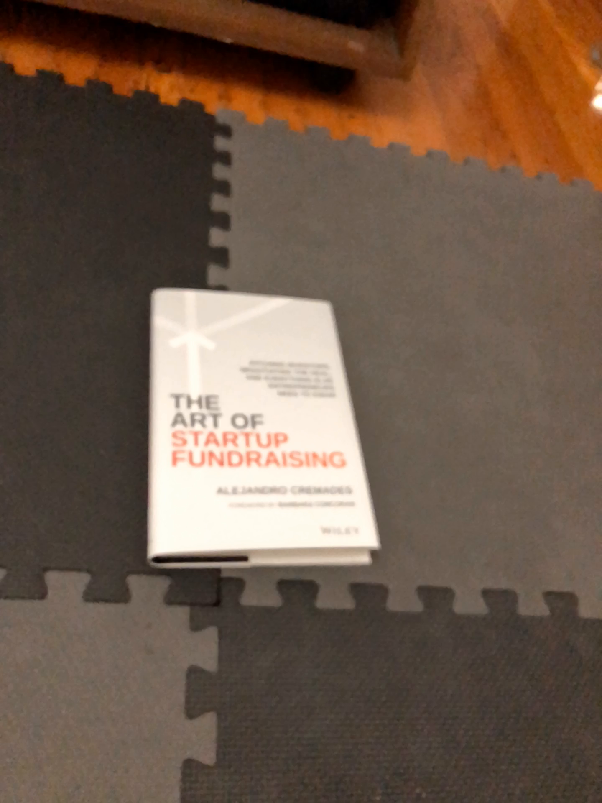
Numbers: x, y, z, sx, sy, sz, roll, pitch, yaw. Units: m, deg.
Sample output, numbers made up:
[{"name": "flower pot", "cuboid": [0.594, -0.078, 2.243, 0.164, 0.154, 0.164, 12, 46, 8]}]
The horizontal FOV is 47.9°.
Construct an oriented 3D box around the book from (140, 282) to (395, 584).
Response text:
[{"name": "book", "cuboid": [-0.033, 0.015, 0.529, 0.170, 0.030, 0.251, 3, 53, -15]}]
